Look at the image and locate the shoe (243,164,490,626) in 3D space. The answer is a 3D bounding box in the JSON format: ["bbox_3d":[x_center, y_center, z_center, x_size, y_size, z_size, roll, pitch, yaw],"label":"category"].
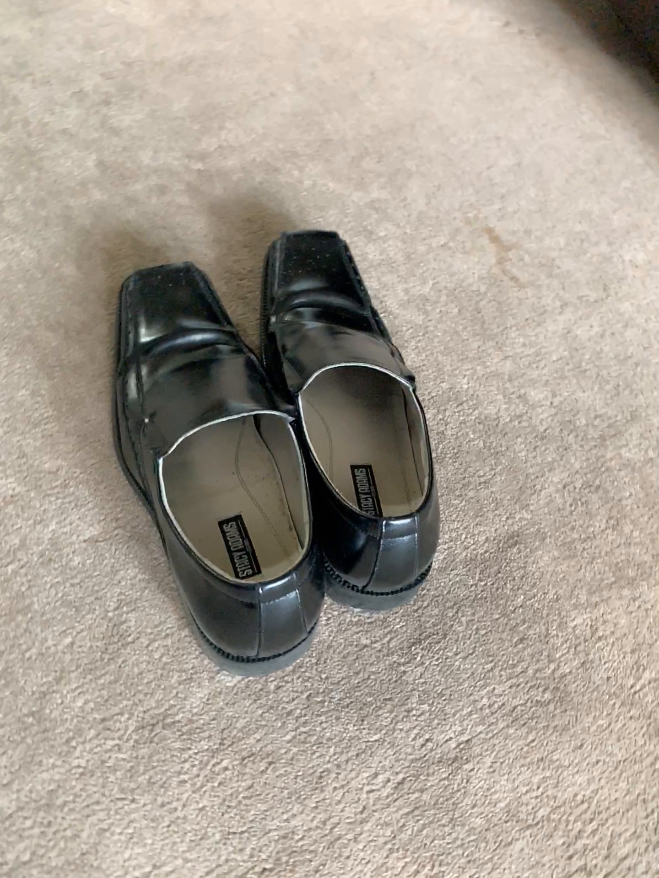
[{"bbox_3d":[0.005,-0.045,0.500,0.110,0.119,0.322,-4,60,-10],"label":"shoe"}]

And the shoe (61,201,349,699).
[{"bbox_3d":[-0.096,-0.005,0.471,0.110,0.119,0.312,-12,61,-15],"label":"shoe"}]
